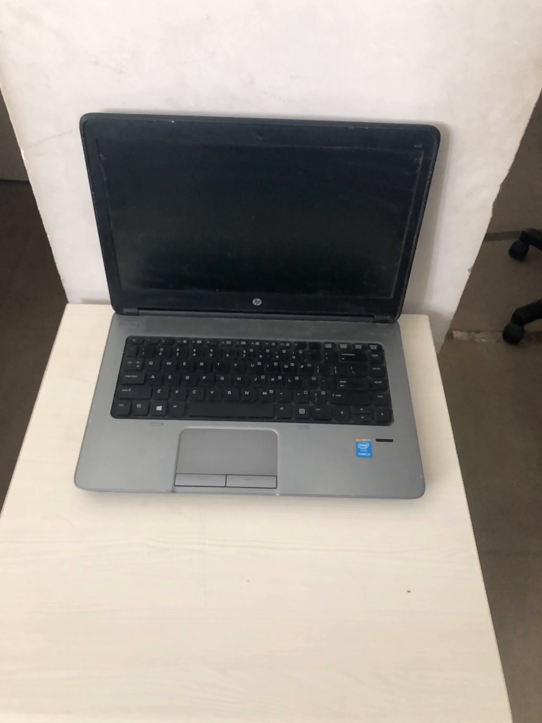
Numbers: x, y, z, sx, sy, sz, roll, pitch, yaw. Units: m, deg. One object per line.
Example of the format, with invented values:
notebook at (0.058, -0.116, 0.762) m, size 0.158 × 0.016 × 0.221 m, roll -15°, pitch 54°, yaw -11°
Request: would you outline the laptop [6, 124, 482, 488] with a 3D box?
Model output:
laptop at (-0.014, -0.047, 0.538) m, size 0.304 × 0.209 × 0.238 m, roll 2°, pitch 51°, yaw -1°
